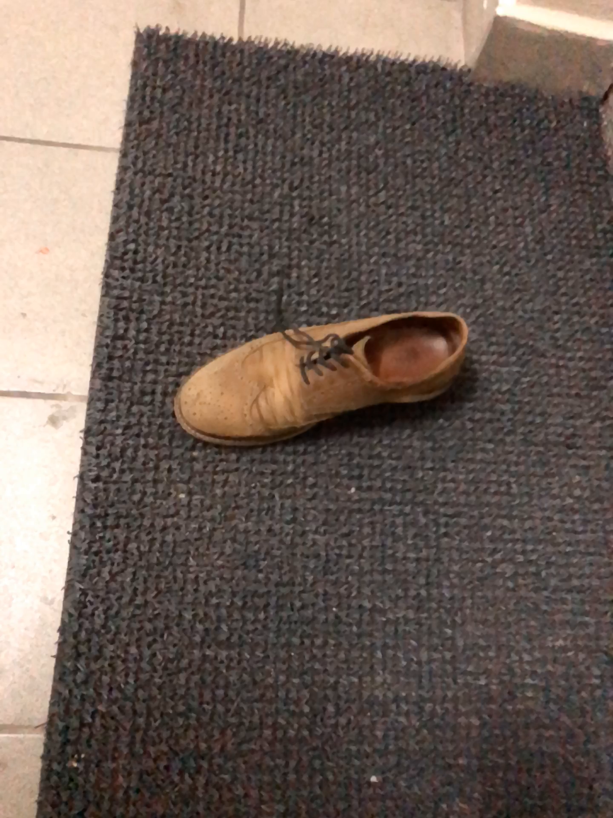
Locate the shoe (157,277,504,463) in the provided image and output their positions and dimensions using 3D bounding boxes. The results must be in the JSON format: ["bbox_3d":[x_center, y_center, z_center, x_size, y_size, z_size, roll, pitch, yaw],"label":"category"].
[{"bbox_3d":[0.018,-0.038,0.653,0.300,0.100,0.110,-9,73,-12],"label":"shoe"}]
